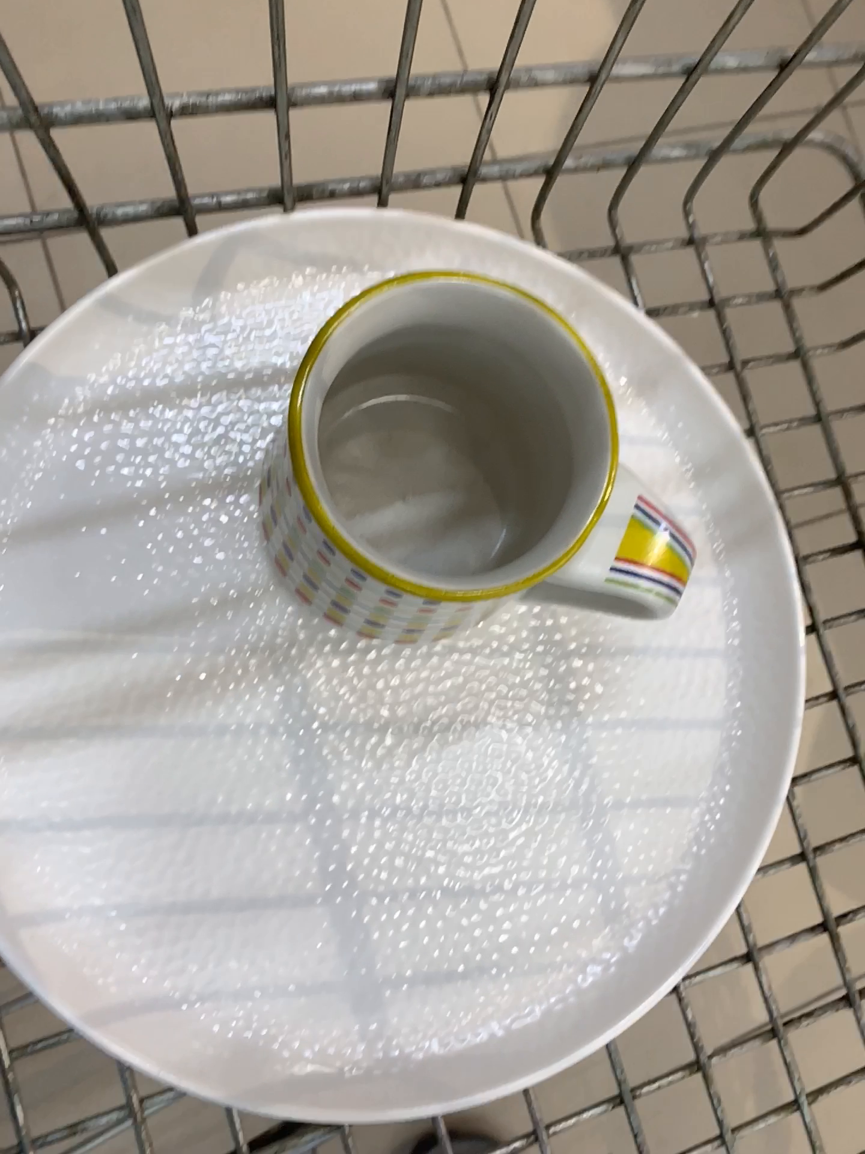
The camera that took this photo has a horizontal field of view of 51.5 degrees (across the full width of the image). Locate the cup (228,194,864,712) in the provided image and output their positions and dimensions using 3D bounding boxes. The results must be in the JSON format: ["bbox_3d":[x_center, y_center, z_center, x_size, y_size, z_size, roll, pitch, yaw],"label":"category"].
[{"bbox_3d":[0.018,-0.015,0.216,0.120,0.100,0.080,8,80,-13],"label":"cup"}]
